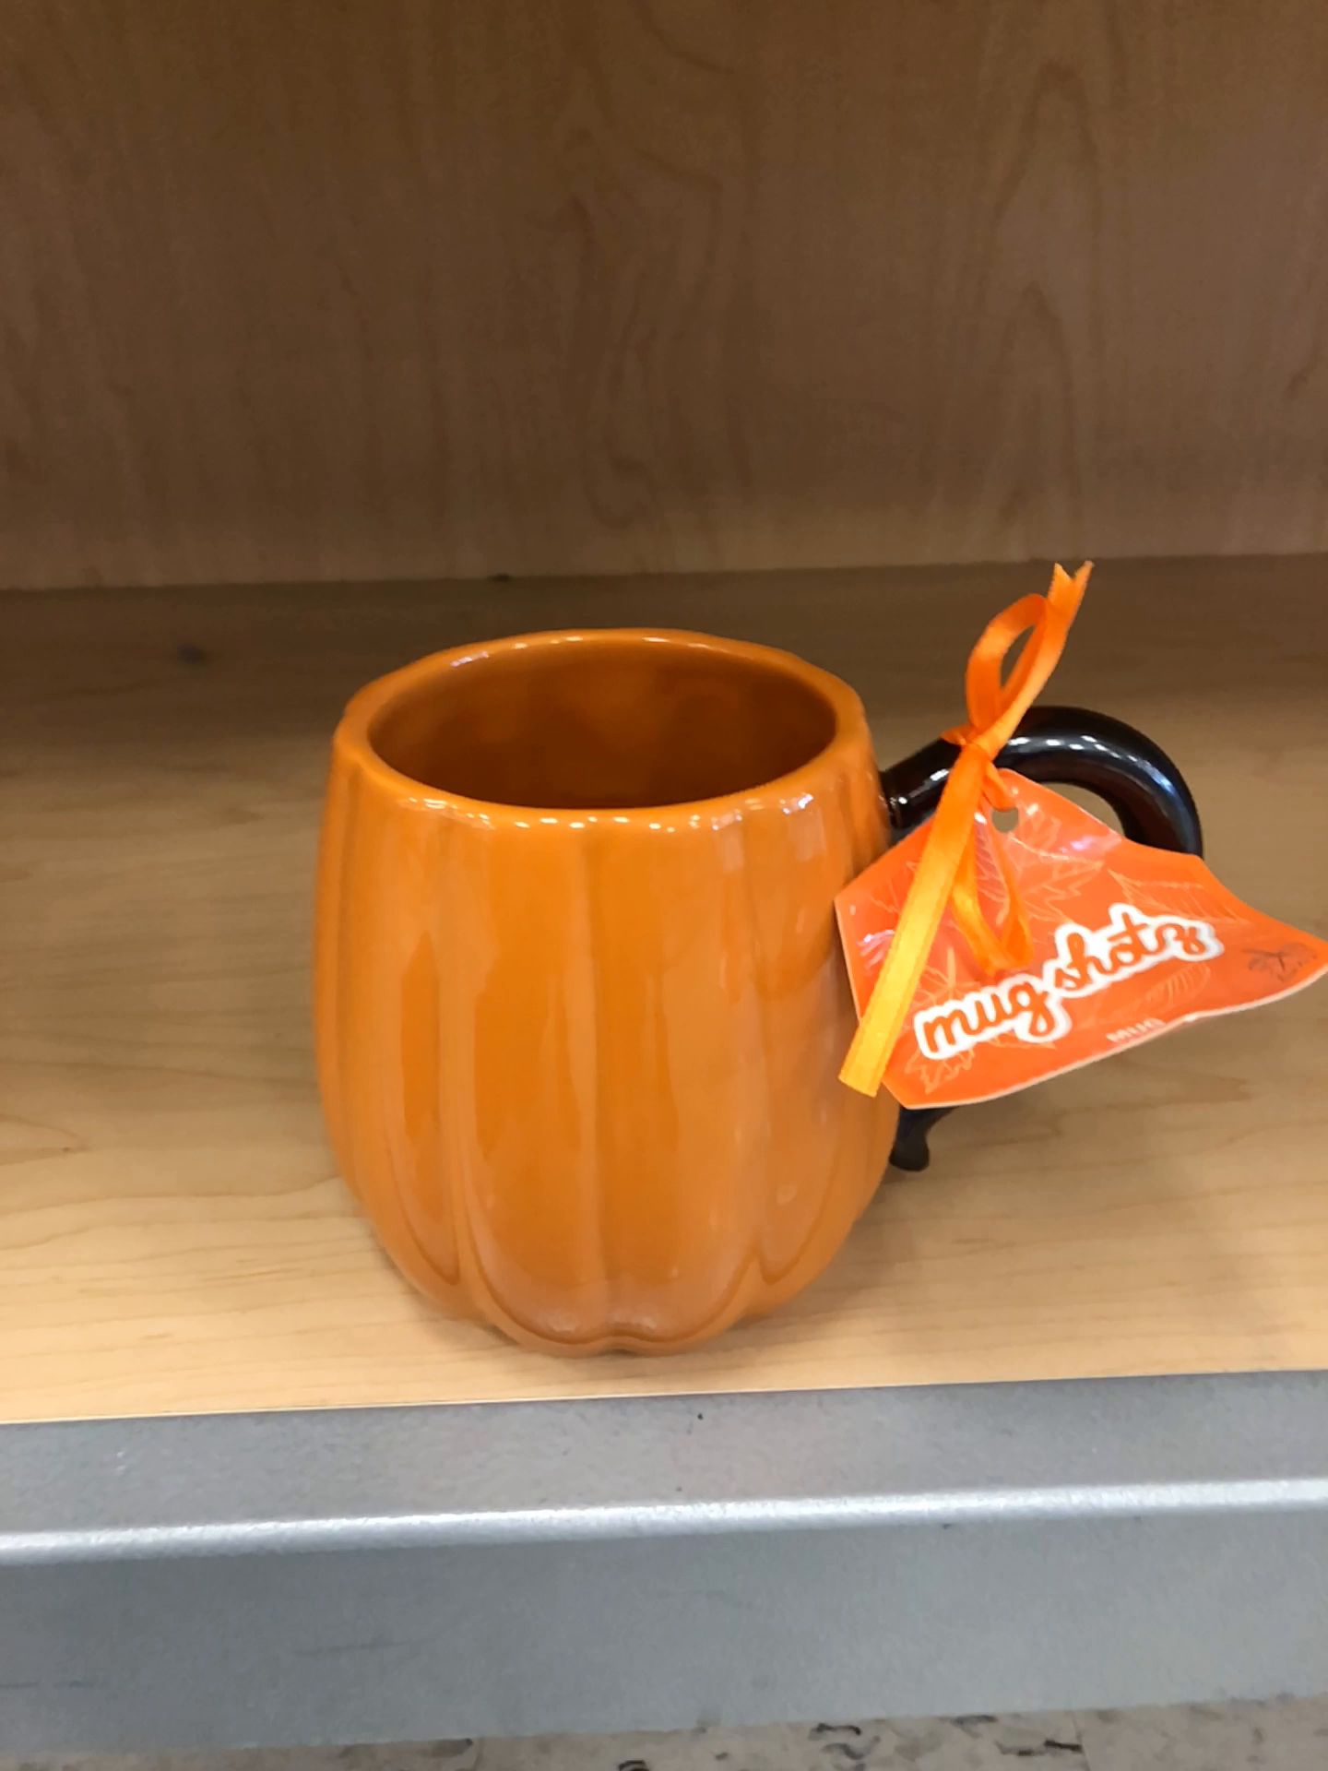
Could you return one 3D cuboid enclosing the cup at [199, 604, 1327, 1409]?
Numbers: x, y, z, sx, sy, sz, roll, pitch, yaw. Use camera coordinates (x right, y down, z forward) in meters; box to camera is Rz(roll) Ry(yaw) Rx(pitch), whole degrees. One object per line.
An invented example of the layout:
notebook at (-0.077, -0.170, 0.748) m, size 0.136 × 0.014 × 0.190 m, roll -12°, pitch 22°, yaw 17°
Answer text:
cup at (0.014, 0.015, 0.232) m, size 0.140 × 0.089 × 0.081 m, roll -3°, pitch 29°, yaw -2°
